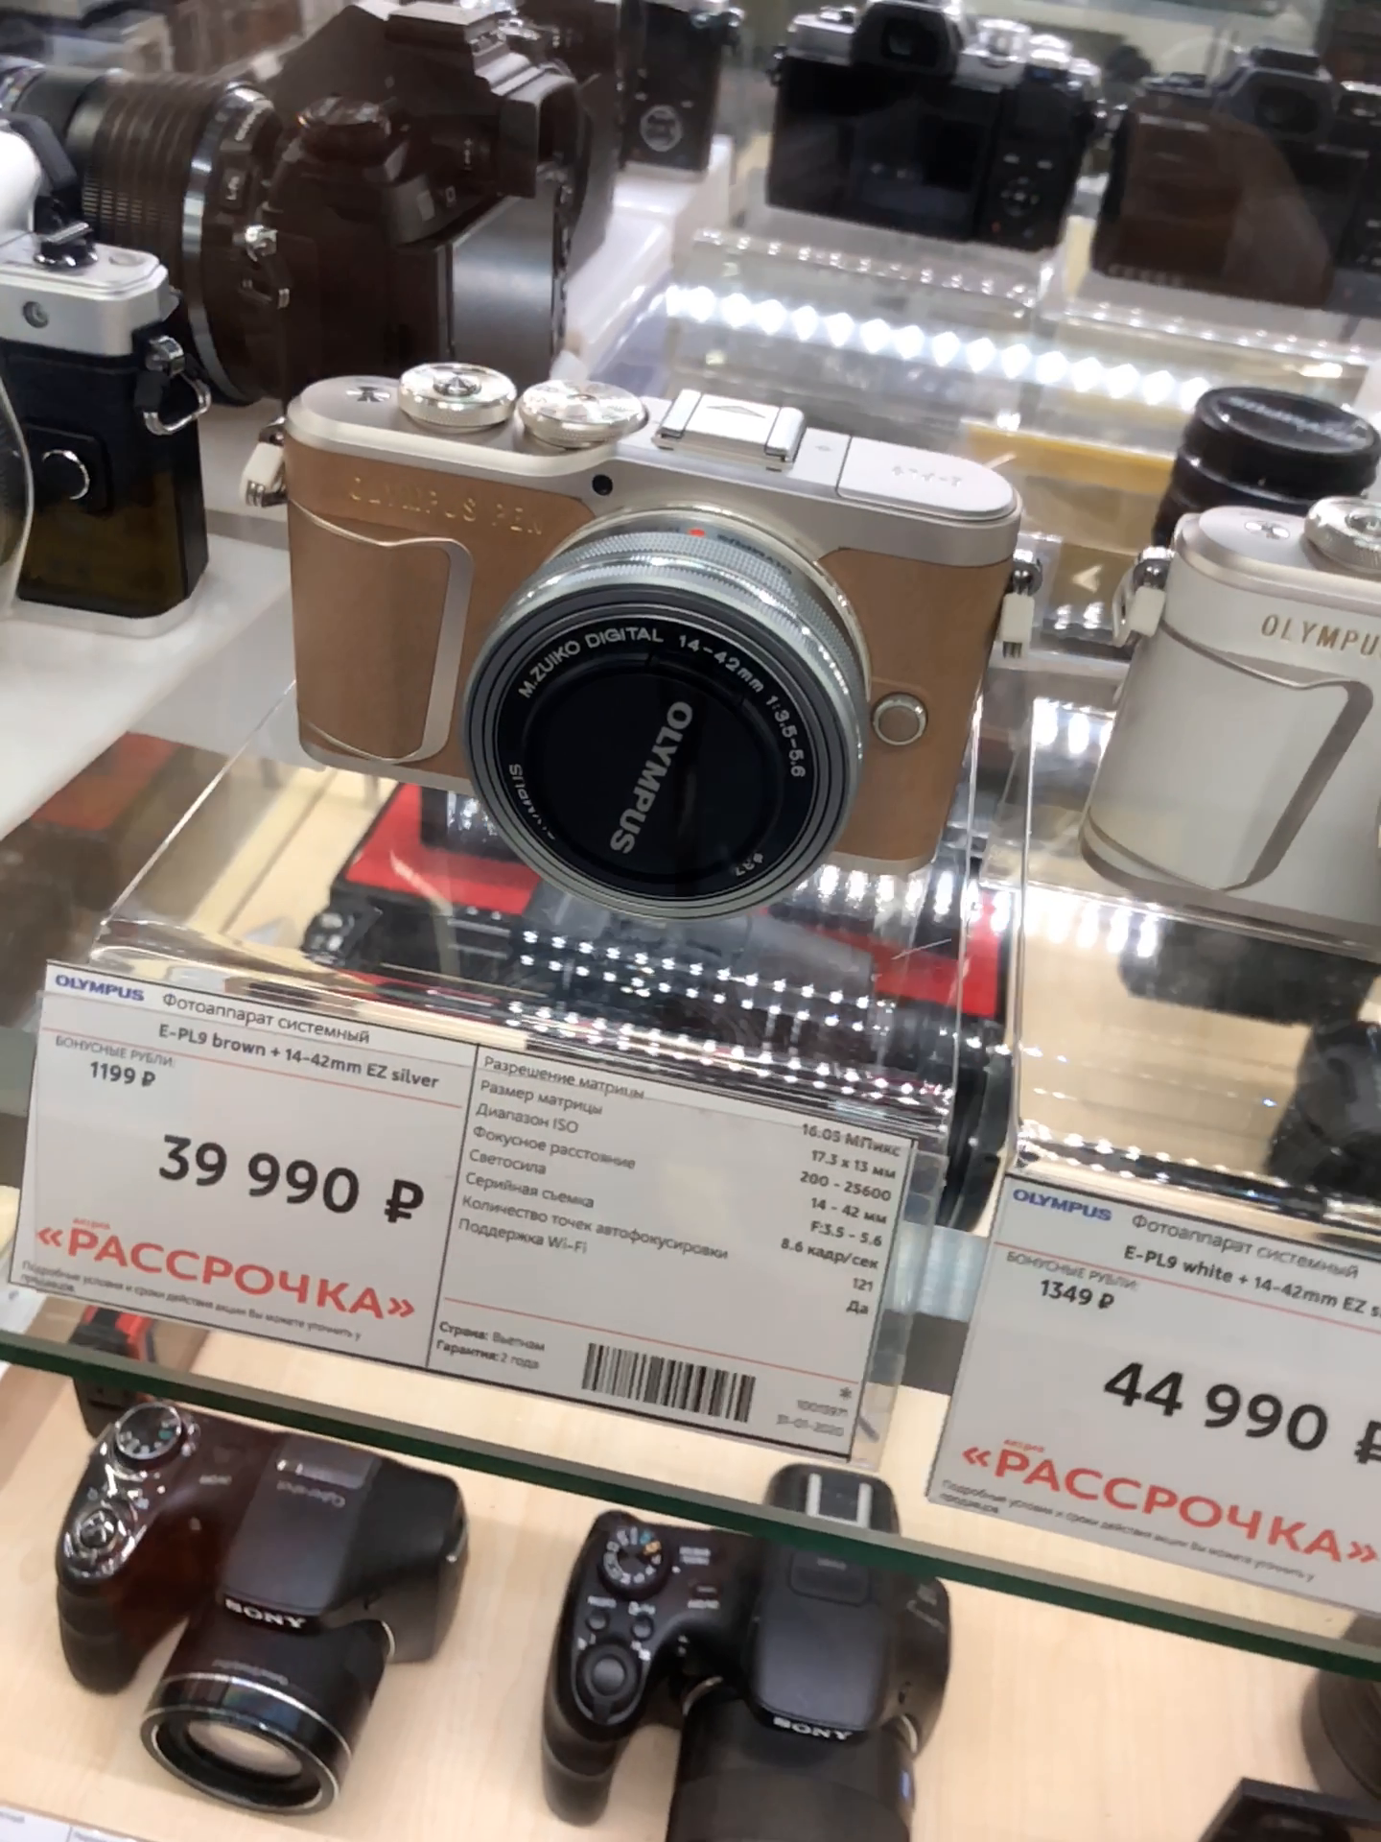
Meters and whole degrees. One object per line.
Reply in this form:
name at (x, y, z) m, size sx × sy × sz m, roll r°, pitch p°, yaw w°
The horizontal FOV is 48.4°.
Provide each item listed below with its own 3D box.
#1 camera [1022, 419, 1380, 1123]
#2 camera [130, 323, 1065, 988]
camera at (0.117, -0.024, 0.227) m, size 0.122 × 0.060 × 0.060 m, roll 11°, pitch 38°, yaw 5°
camera at (-0.011, -0.043, 0.236) m, size 0.122 × 0.060 × 0.060 m, roll 11°, pitch 38°, yaw 5°
